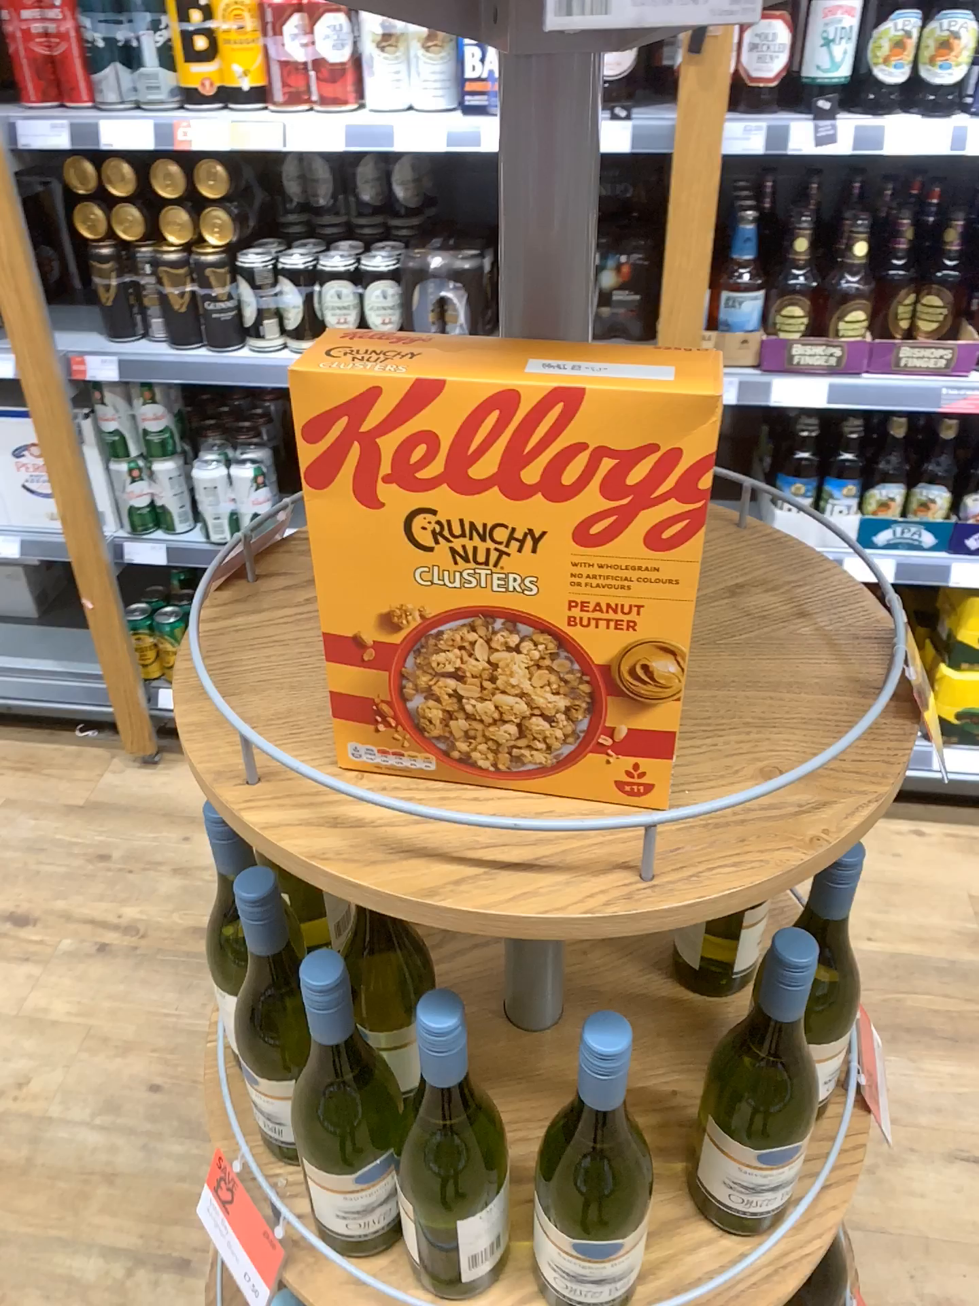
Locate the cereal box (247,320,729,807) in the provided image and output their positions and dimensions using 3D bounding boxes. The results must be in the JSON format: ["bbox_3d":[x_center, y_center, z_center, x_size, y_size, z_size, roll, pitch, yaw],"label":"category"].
[{"bbox_3d":[0.002,-0.040,0.522,0.210,0.238,0.061,5,35,9],"label":"cereal box"}]
